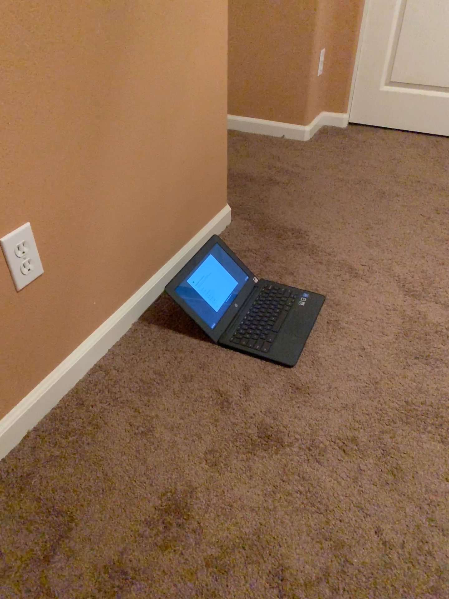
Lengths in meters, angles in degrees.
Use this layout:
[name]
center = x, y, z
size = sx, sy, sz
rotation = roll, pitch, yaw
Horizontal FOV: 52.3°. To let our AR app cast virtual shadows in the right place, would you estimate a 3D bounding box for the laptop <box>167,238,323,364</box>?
[laptop]
center = 0.062, -0.014, 1.246
size = 0.331, 0.124, 0.289
rotation = 15, 40, 18
